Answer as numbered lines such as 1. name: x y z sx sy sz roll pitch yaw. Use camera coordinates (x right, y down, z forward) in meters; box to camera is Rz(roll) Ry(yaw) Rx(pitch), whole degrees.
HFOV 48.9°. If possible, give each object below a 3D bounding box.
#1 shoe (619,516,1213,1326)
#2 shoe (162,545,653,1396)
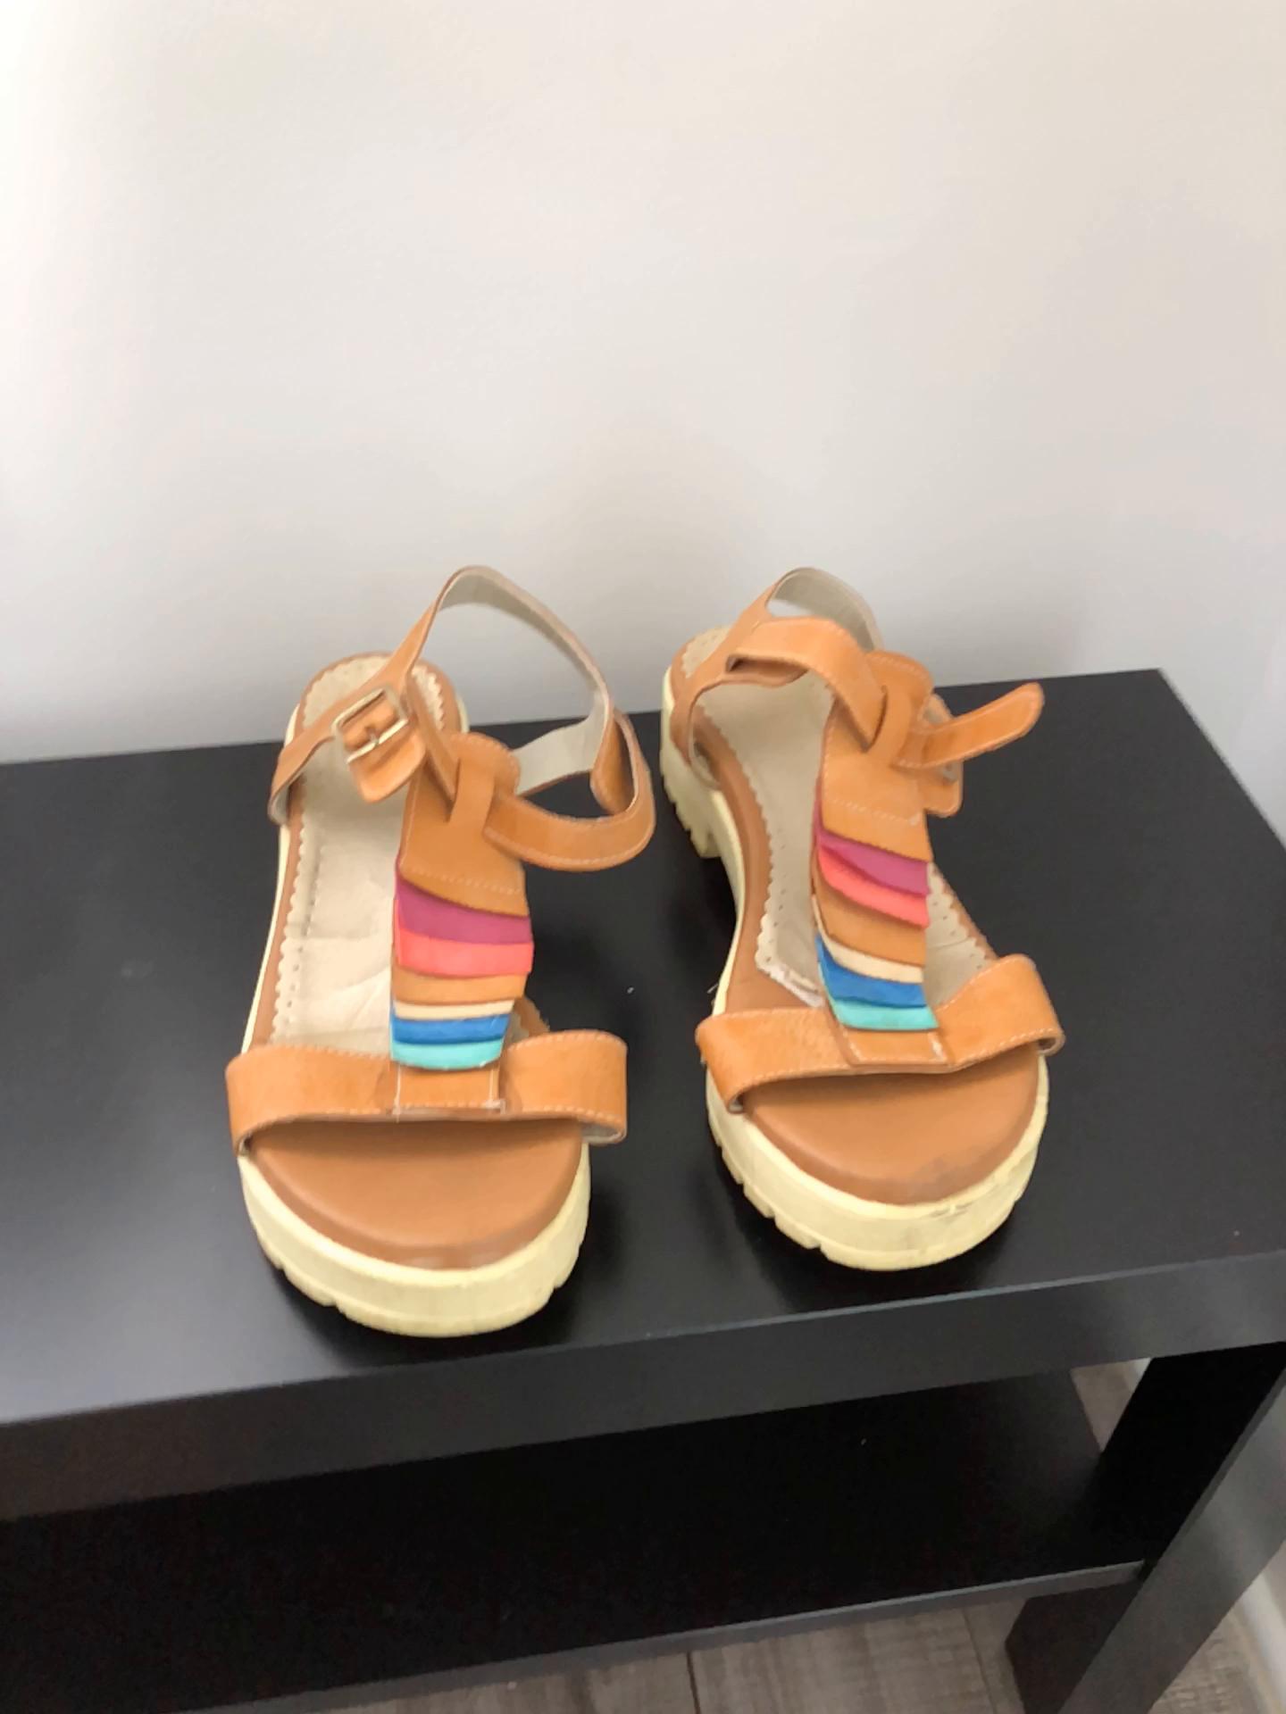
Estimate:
1. shoe: 0.057 -0.001 0.414 0.100 0.077 0.248 -4 43 -6
2. shoe: -0.063 0.013 0.409 0.100 0.083 0.248 -4 43 -6
